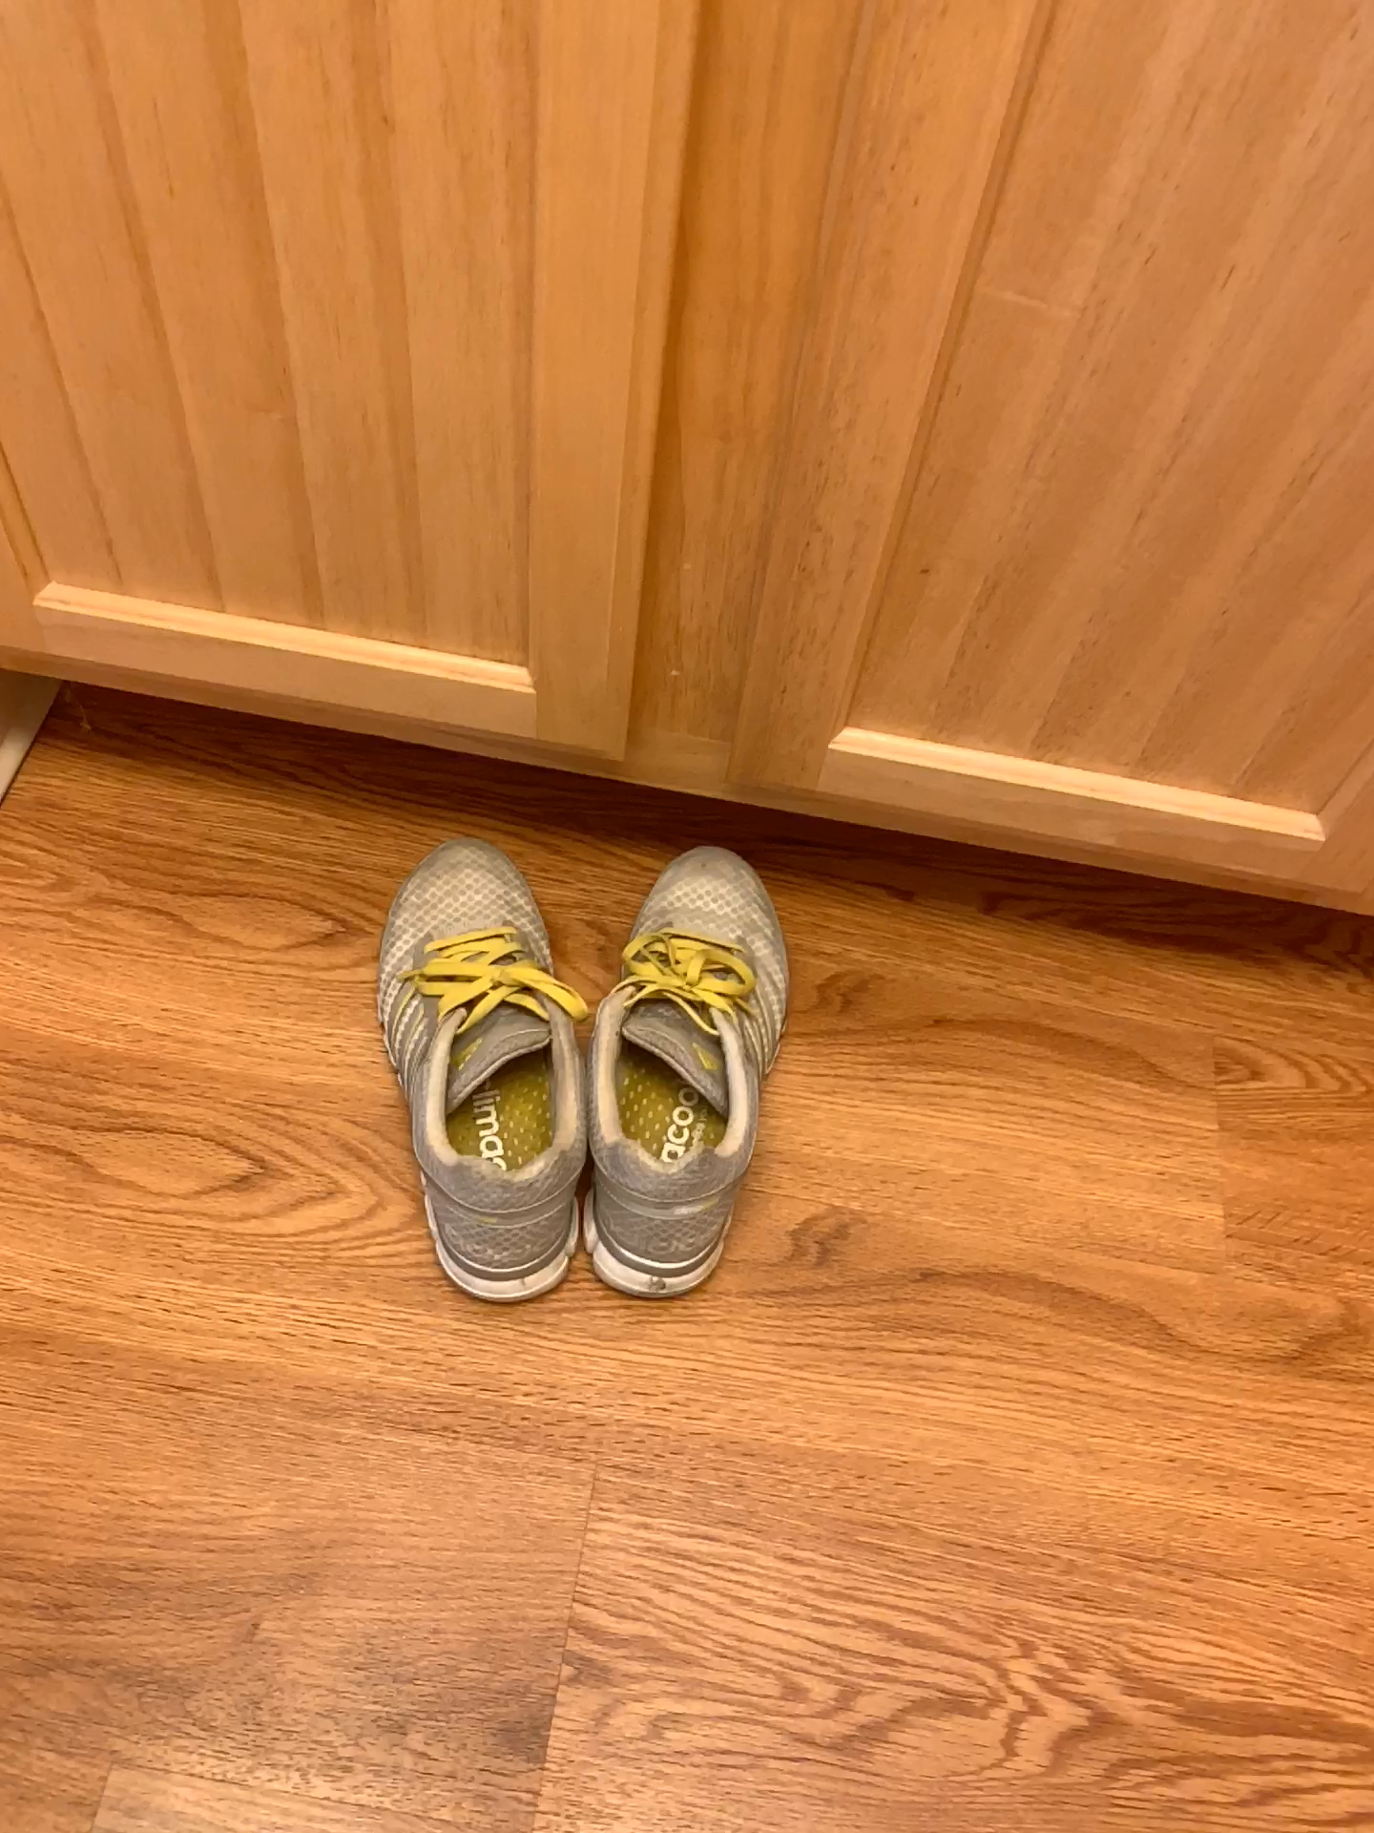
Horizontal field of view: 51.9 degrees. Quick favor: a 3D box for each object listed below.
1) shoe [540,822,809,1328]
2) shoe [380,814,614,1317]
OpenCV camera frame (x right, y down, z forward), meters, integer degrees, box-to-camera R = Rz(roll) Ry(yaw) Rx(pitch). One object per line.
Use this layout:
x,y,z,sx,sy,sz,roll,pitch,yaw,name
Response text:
-0.006,0.083,0.755,0.090,0.130,0.221,12,55,2,shoe
-0.108,0.078,0.773,0.090,0.130,0.231,-7,57,-11,shoe
